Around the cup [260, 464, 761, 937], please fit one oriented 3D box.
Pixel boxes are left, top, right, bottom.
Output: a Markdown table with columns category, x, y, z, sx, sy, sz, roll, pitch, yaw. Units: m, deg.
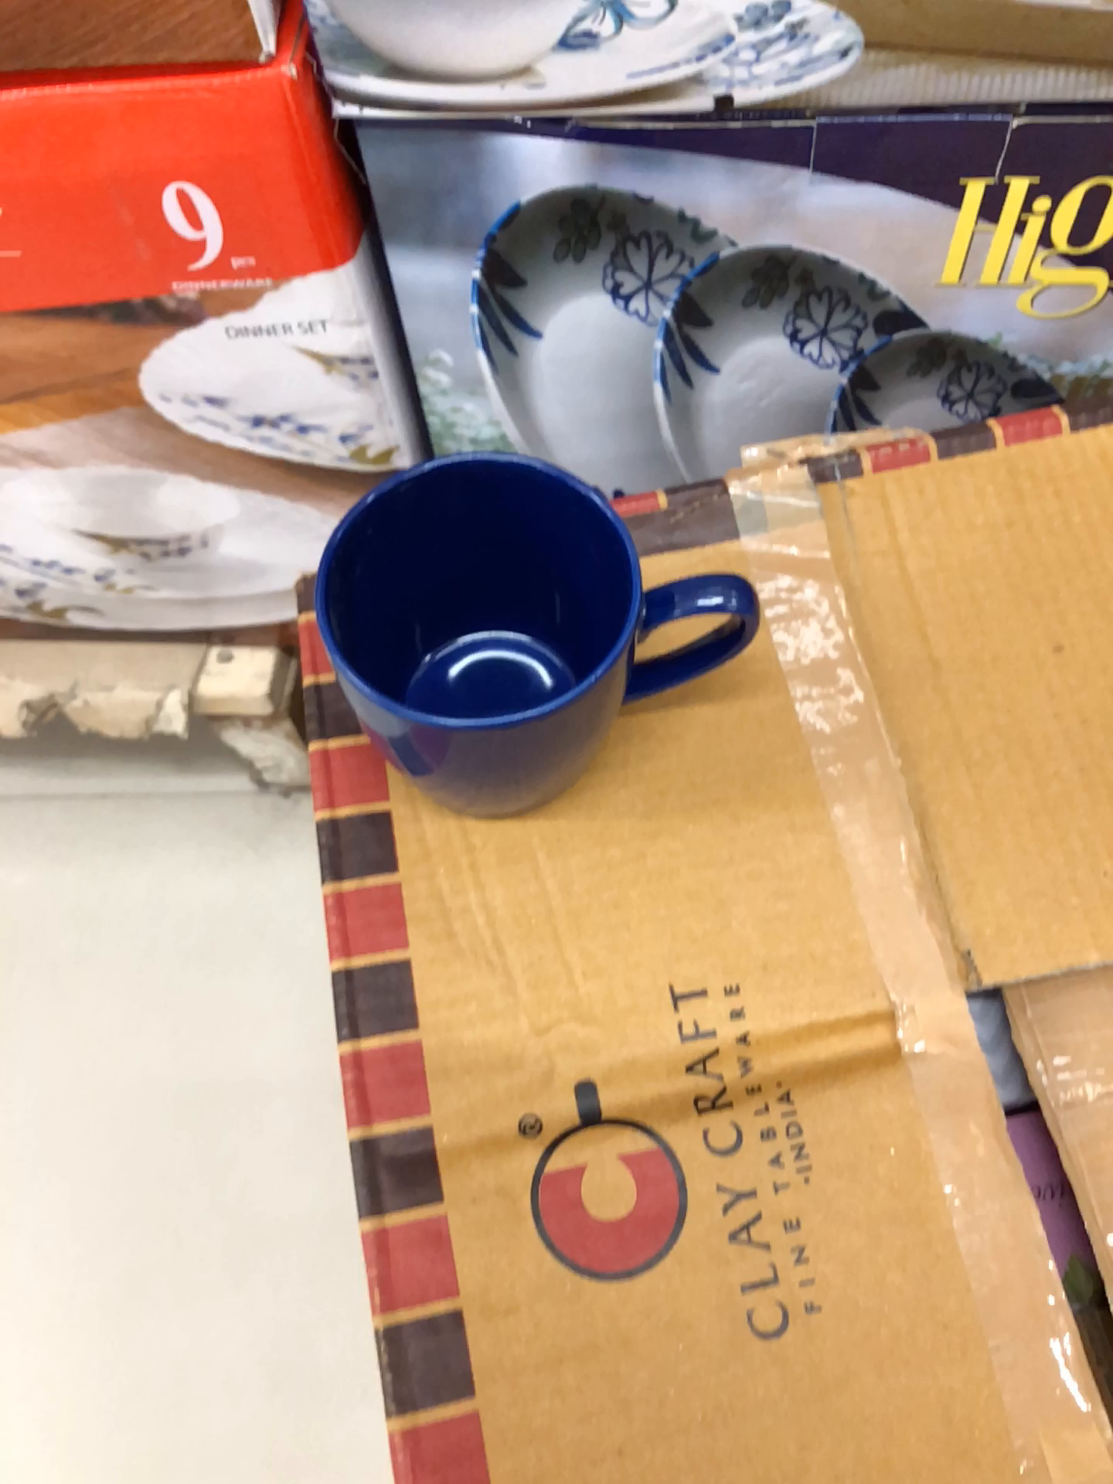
| category | x | y | z | sx | sy | sz | roll | pitch | yaw |
| --- | --- | --- | --- | --- | --- | --- | --- | --- | --- |
| cup | -0.010 | -0.006 | 0.298 | 0.100 | 0.080 | 0.070 | -8 | 62 | 1 |
